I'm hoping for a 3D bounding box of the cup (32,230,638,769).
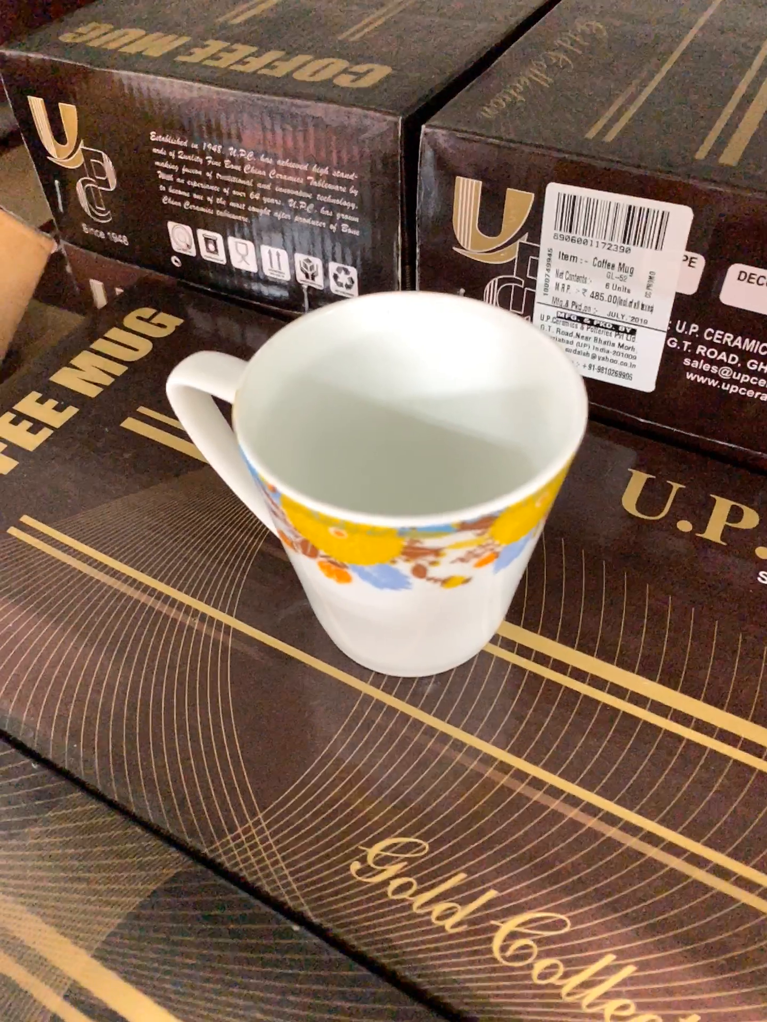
[{"bbox_3d":[-0.007,-0.007,0.172,0.092,0.058,0.068,23,54,21],"label":"cup"}]
